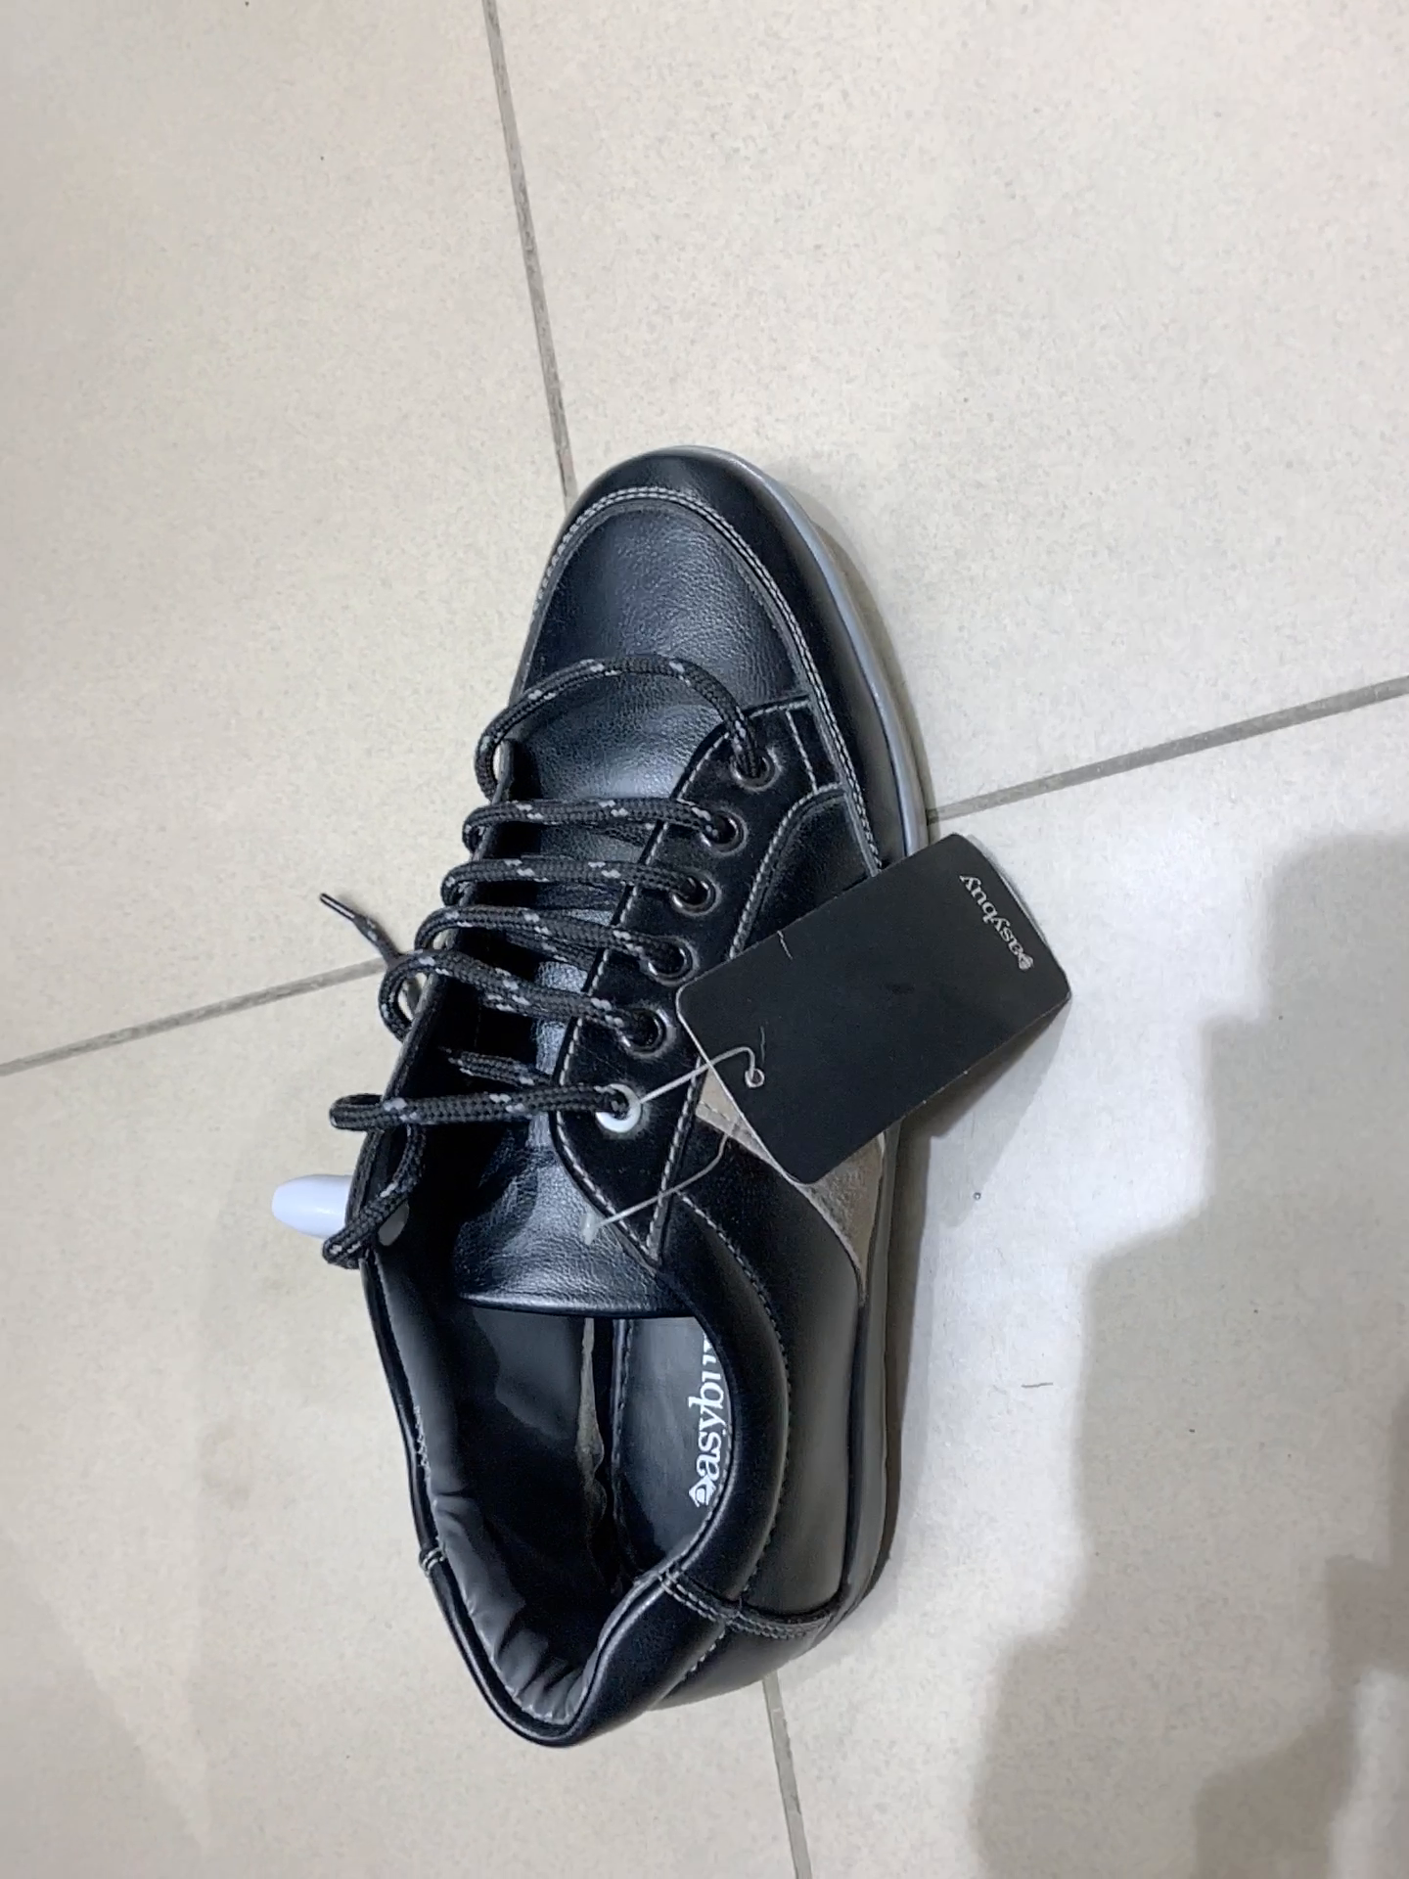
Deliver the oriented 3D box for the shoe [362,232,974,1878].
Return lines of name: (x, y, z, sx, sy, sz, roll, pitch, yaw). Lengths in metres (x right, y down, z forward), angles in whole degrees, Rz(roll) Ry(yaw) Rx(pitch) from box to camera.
shoe: (-0.007, 0.019, 0.326, 0.100, 0.090, 0.300, -5, 82, 25)
